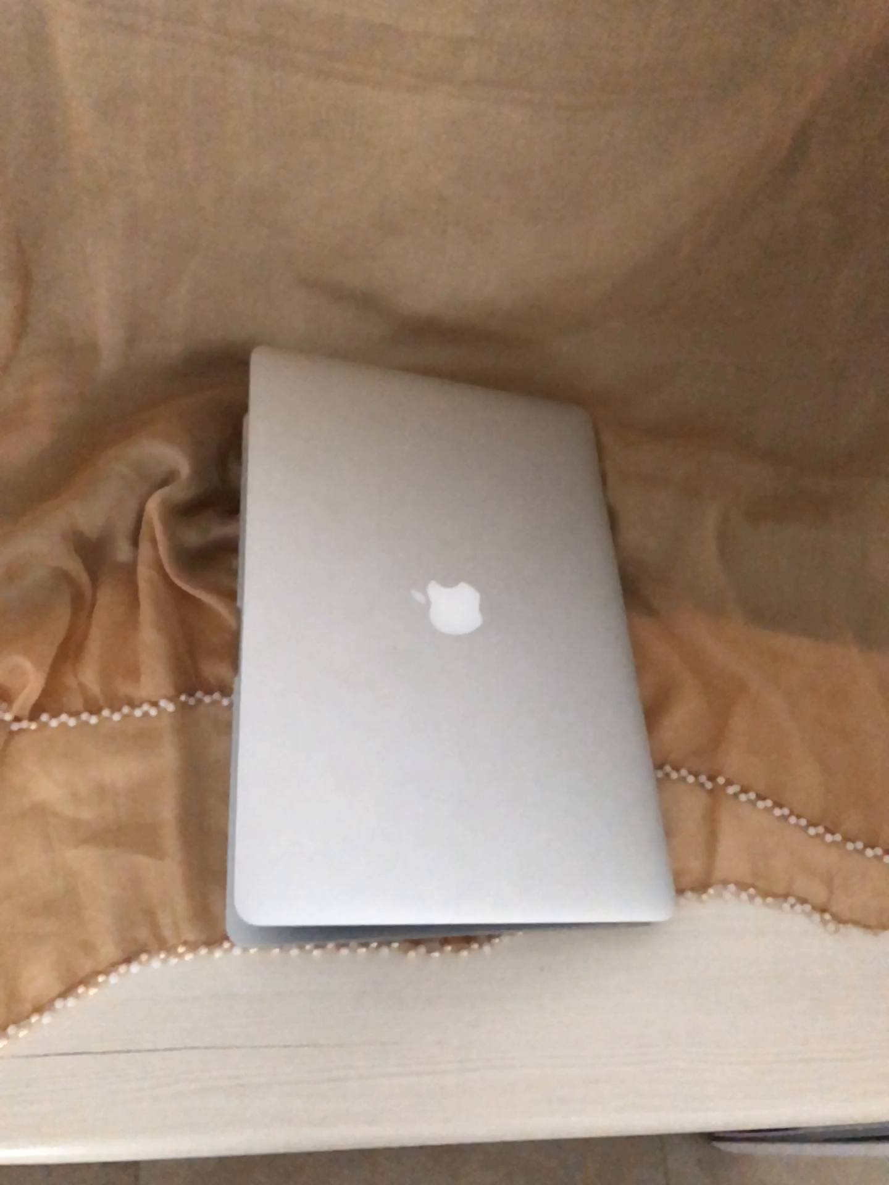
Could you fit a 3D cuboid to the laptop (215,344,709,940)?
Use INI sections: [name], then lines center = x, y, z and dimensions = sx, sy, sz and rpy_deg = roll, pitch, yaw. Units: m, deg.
[laptop]
center = -0.004, 0.012, 0.583
dimensions = 0.239, 0.063, 0.353
rpy_deg = 0, 61, -7
